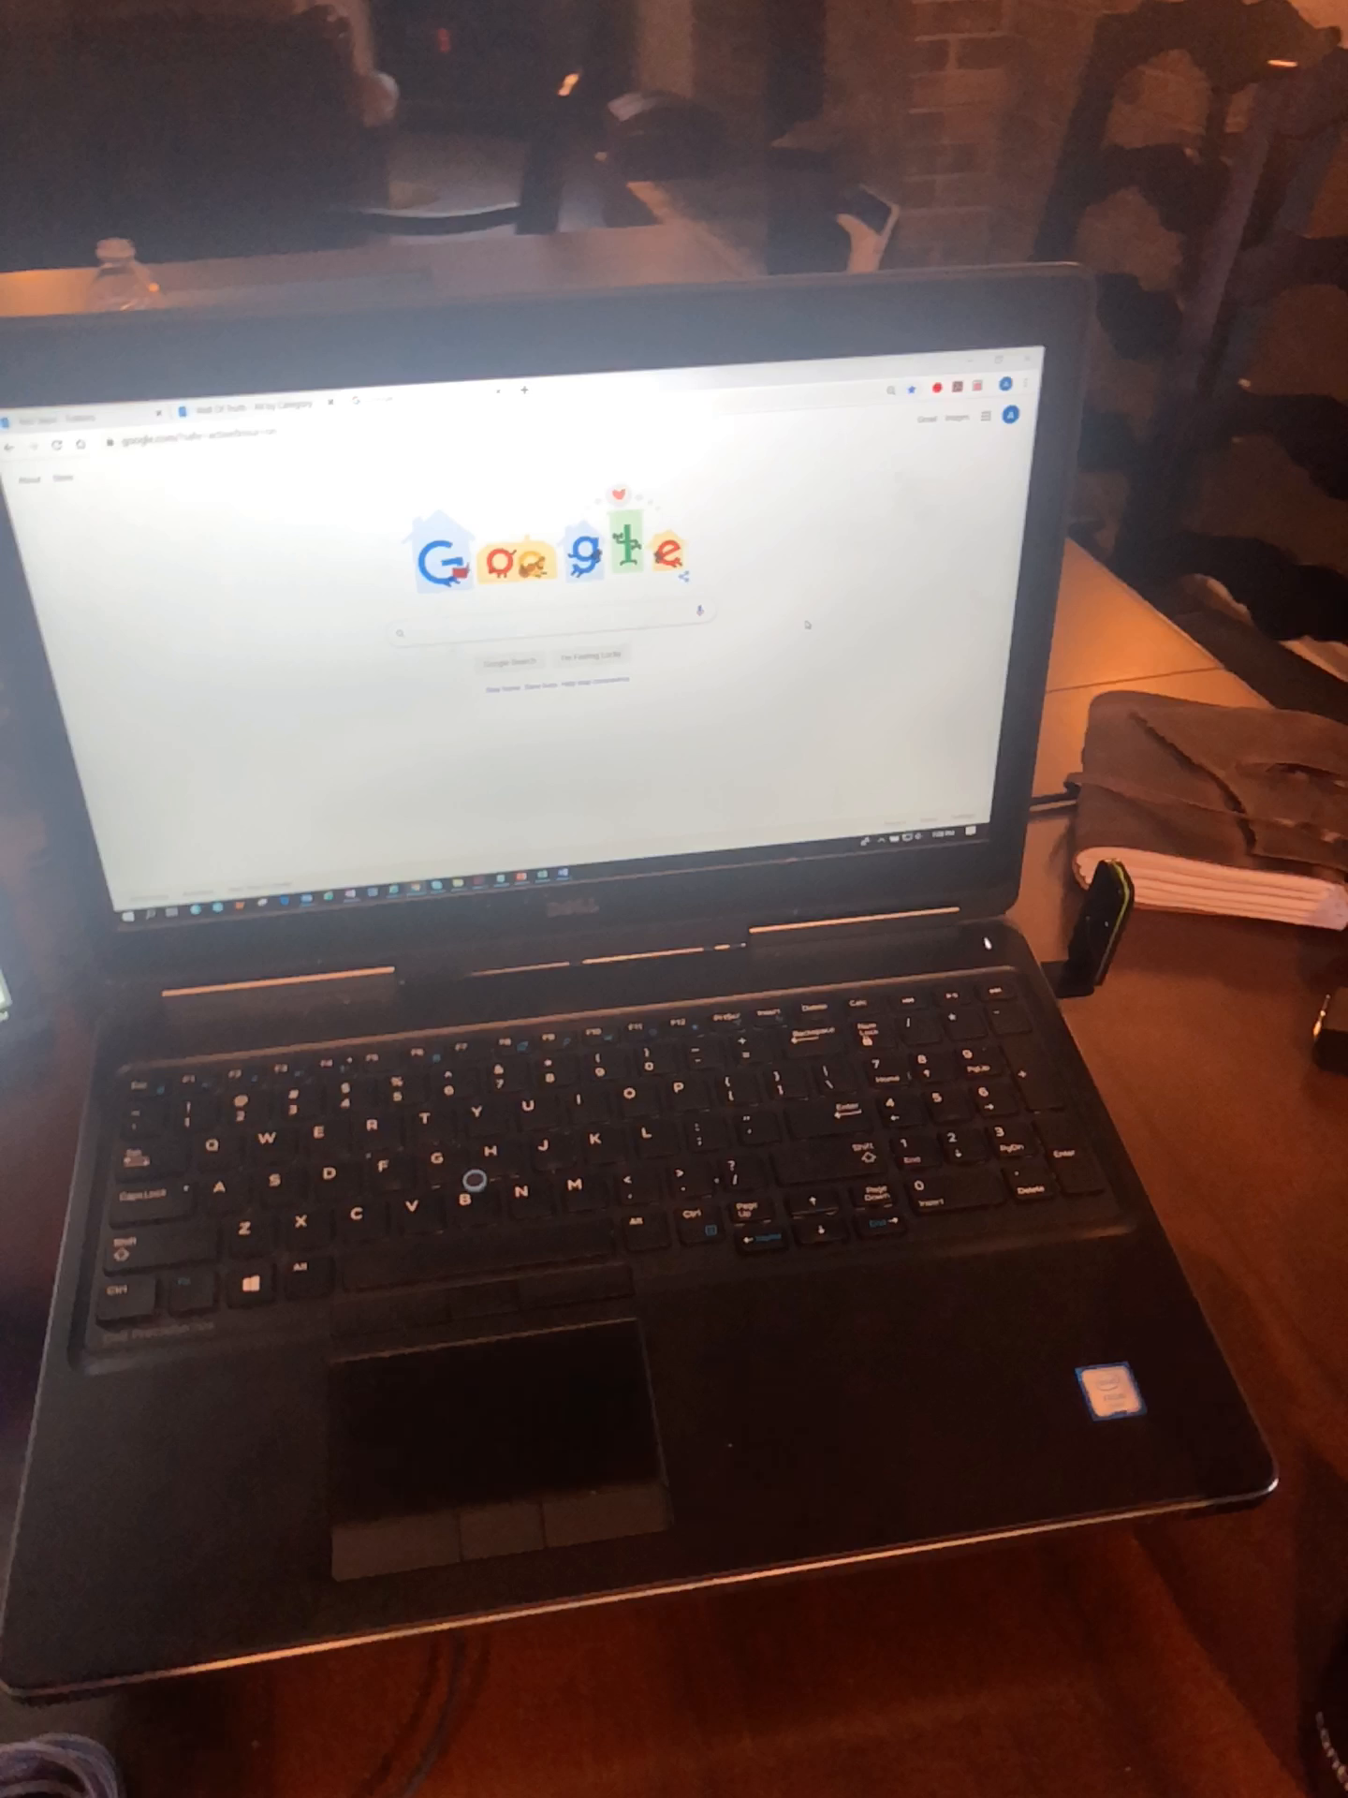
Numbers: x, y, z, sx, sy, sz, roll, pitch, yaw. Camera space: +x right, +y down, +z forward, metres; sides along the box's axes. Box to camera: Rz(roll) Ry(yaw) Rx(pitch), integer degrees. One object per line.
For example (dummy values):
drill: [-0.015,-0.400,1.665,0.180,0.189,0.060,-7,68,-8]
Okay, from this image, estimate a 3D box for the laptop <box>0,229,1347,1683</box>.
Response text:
laptop: [-0.025,-0.011,0.450,0.367,0.258,0.287,-6,38,-7]
